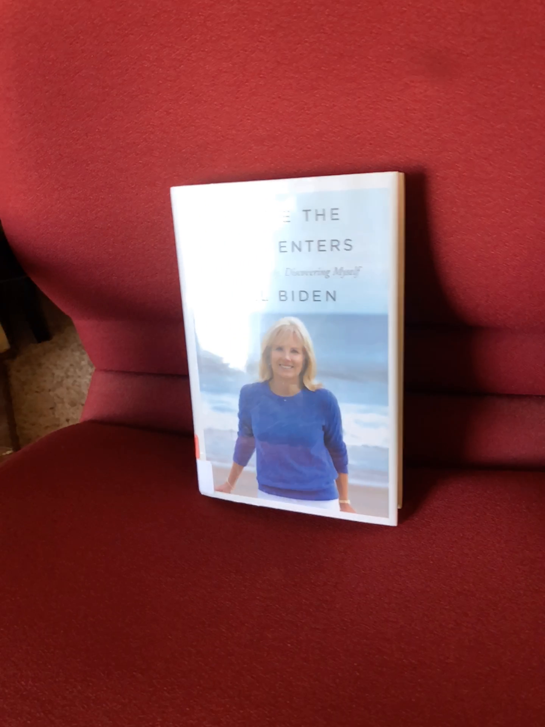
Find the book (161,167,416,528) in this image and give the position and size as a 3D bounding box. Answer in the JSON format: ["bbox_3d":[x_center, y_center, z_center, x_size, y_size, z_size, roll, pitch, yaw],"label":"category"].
[{"bbox_3d":[0.010,-0.010,0.383,0.150,0.210,0.030,4,16,22],"label":"book"}]
